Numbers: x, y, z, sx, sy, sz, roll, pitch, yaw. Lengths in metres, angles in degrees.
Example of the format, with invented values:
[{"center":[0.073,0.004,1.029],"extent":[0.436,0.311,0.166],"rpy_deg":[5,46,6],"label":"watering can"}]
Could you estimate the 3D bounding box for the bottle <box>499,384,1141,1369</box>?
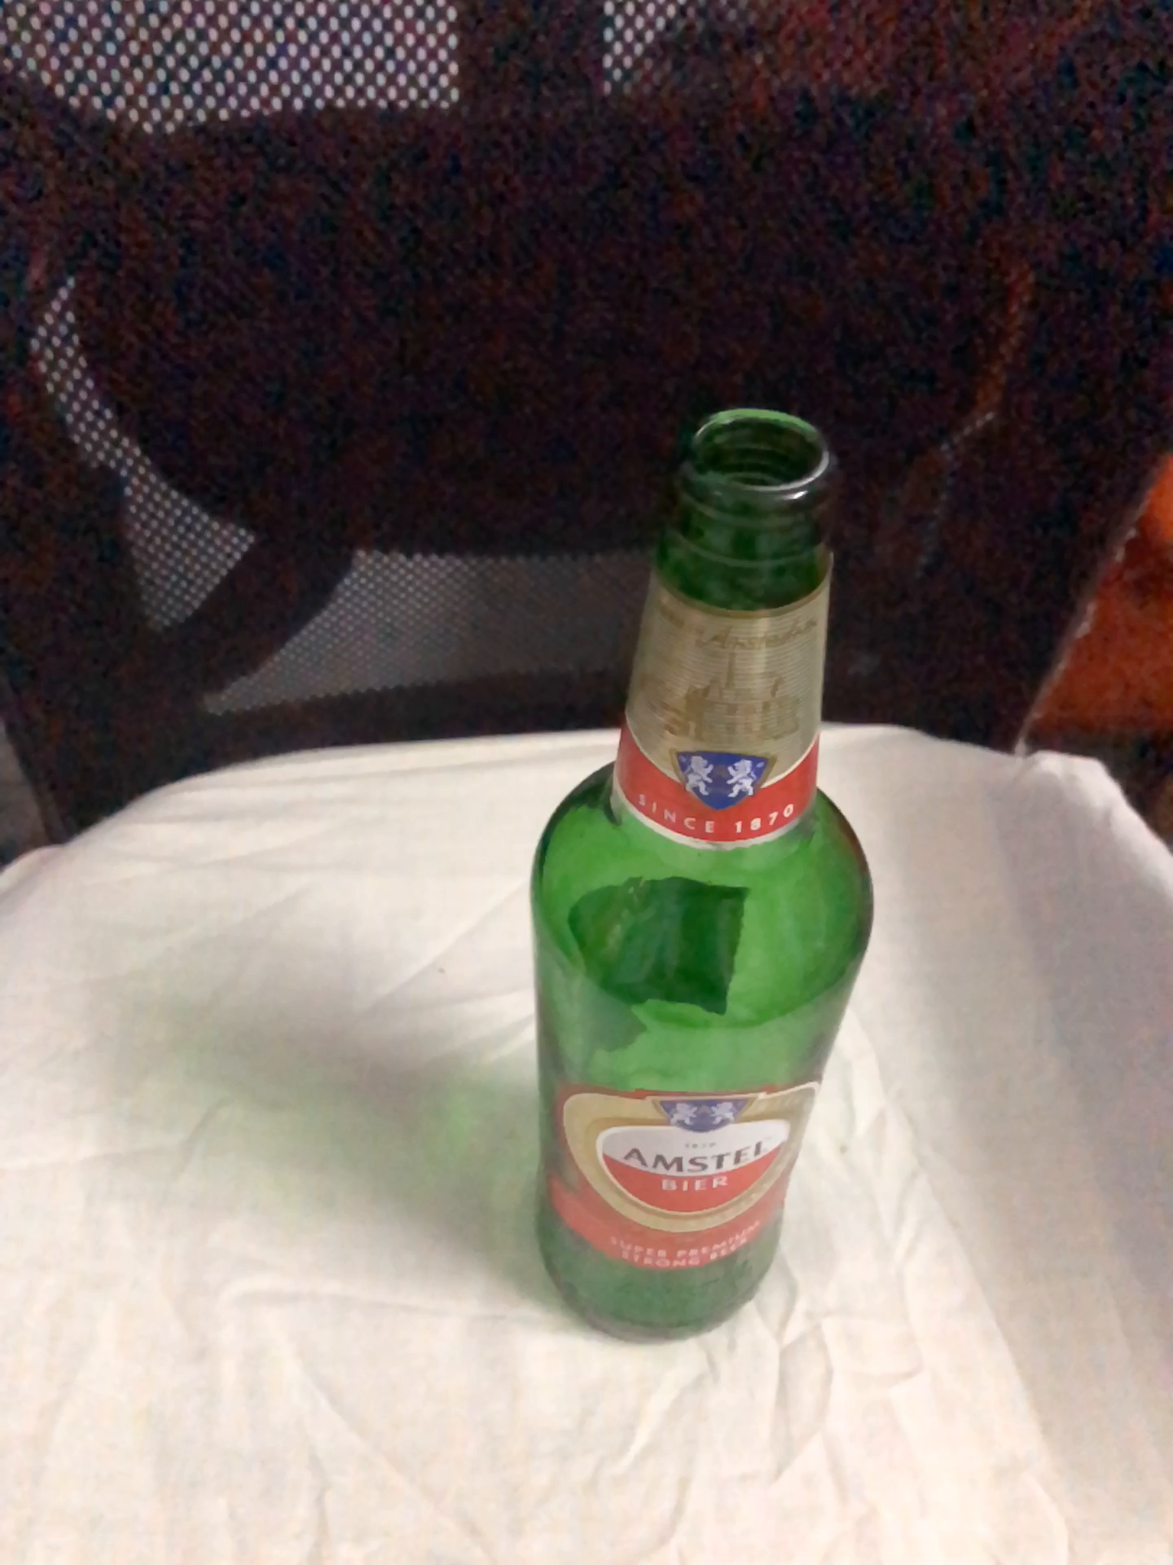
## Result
[{"center":[0.024,0.051,0.295],"extent":[0.080,0.279,0.060],"rpy_deg":[-2,48,-7],"label":"bottle"}]
